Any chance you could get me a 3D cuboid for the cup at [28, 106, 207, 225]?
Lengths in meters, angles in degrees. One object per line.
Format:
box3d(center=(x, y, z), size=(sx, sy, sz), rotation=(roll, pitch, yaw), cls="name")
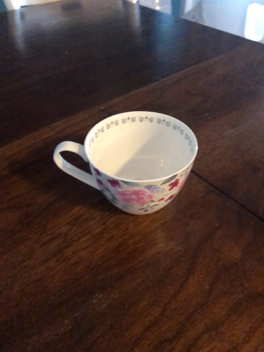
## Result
box3d(center=(-0.012, -0.016, 0.330), size=(0.160, 0.070, 0.120), rotation=(1, 44, 1), cls="cup")
